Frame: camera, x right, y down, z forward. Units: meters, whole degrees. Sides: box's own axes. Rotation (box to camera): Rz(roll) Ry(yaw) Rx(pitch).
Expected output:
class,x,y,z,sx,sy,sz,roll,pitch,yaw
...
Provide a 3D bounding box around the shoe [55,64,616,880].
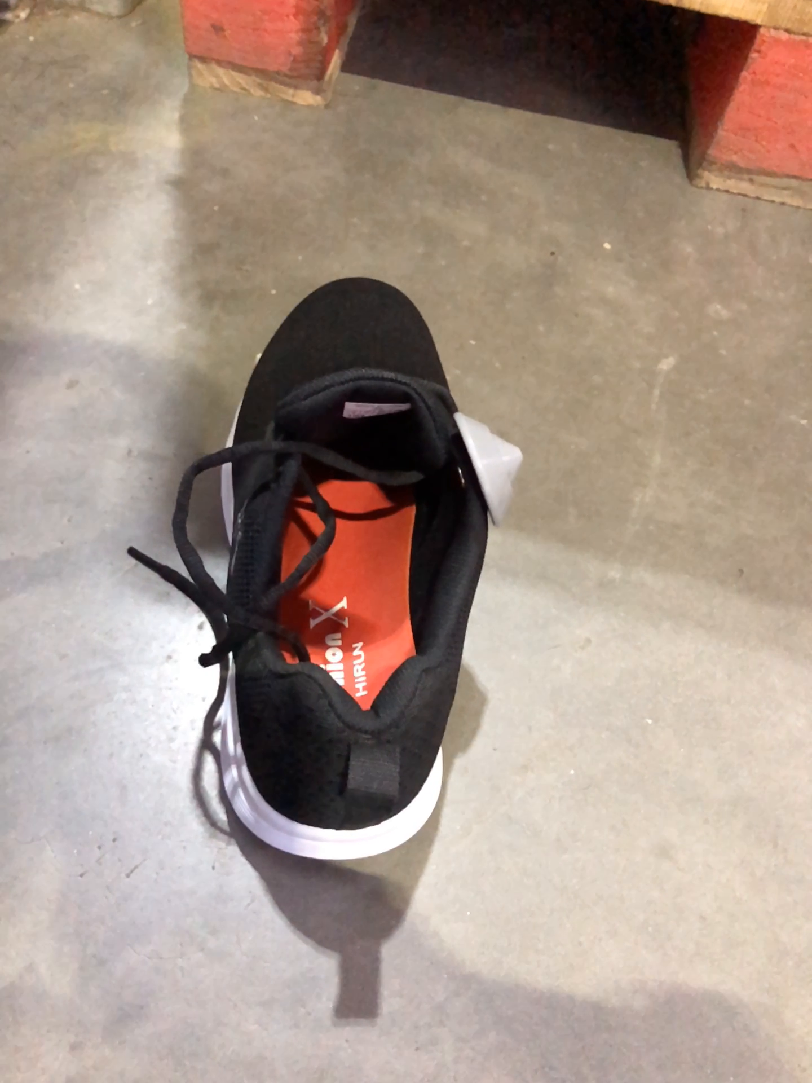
class,x,y,z,sx,sy,sz,roll,pitch,yaw
shoe,-0.021,-0.036,0.336,0.130,0.119,0.281,4,56,-6
